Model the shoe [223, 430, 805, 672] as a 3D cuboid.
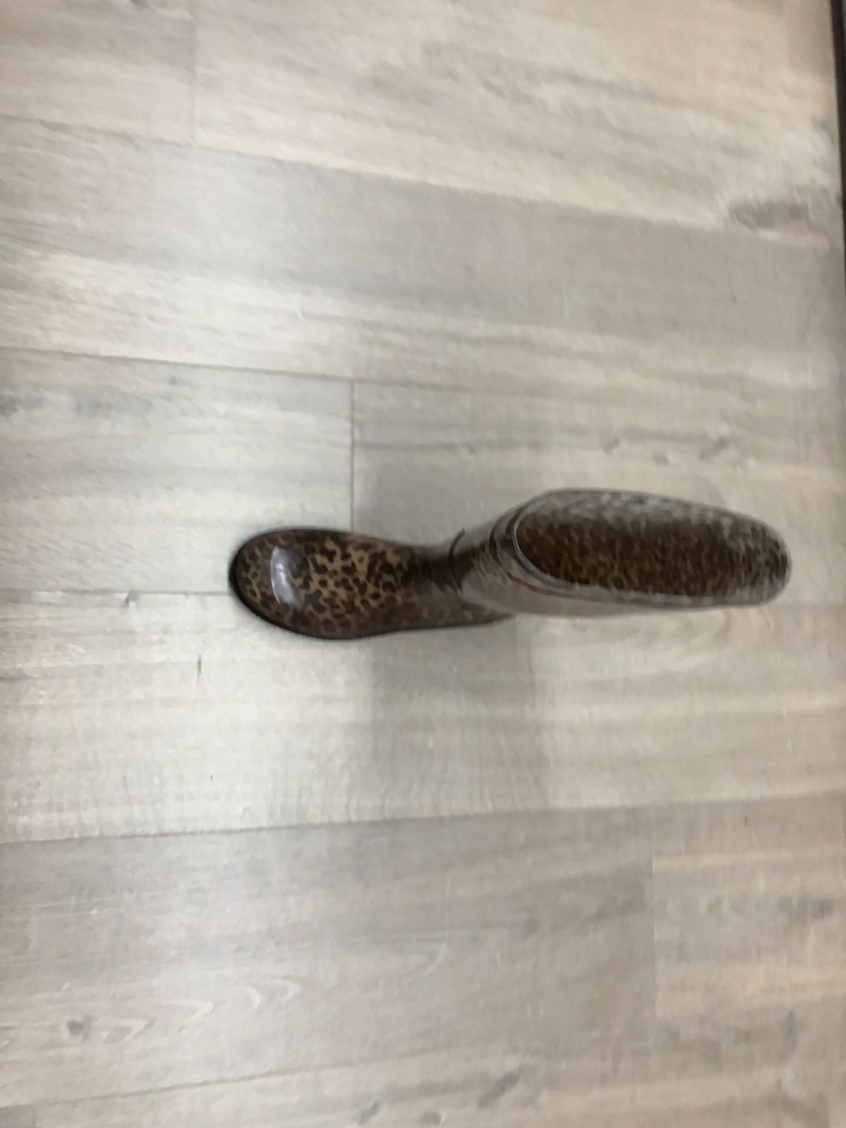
[{"bbox_3d":[0.026,0.013,0.635,0.280,0.339,0.090,7,83,-17],"label":"shoe"}]
